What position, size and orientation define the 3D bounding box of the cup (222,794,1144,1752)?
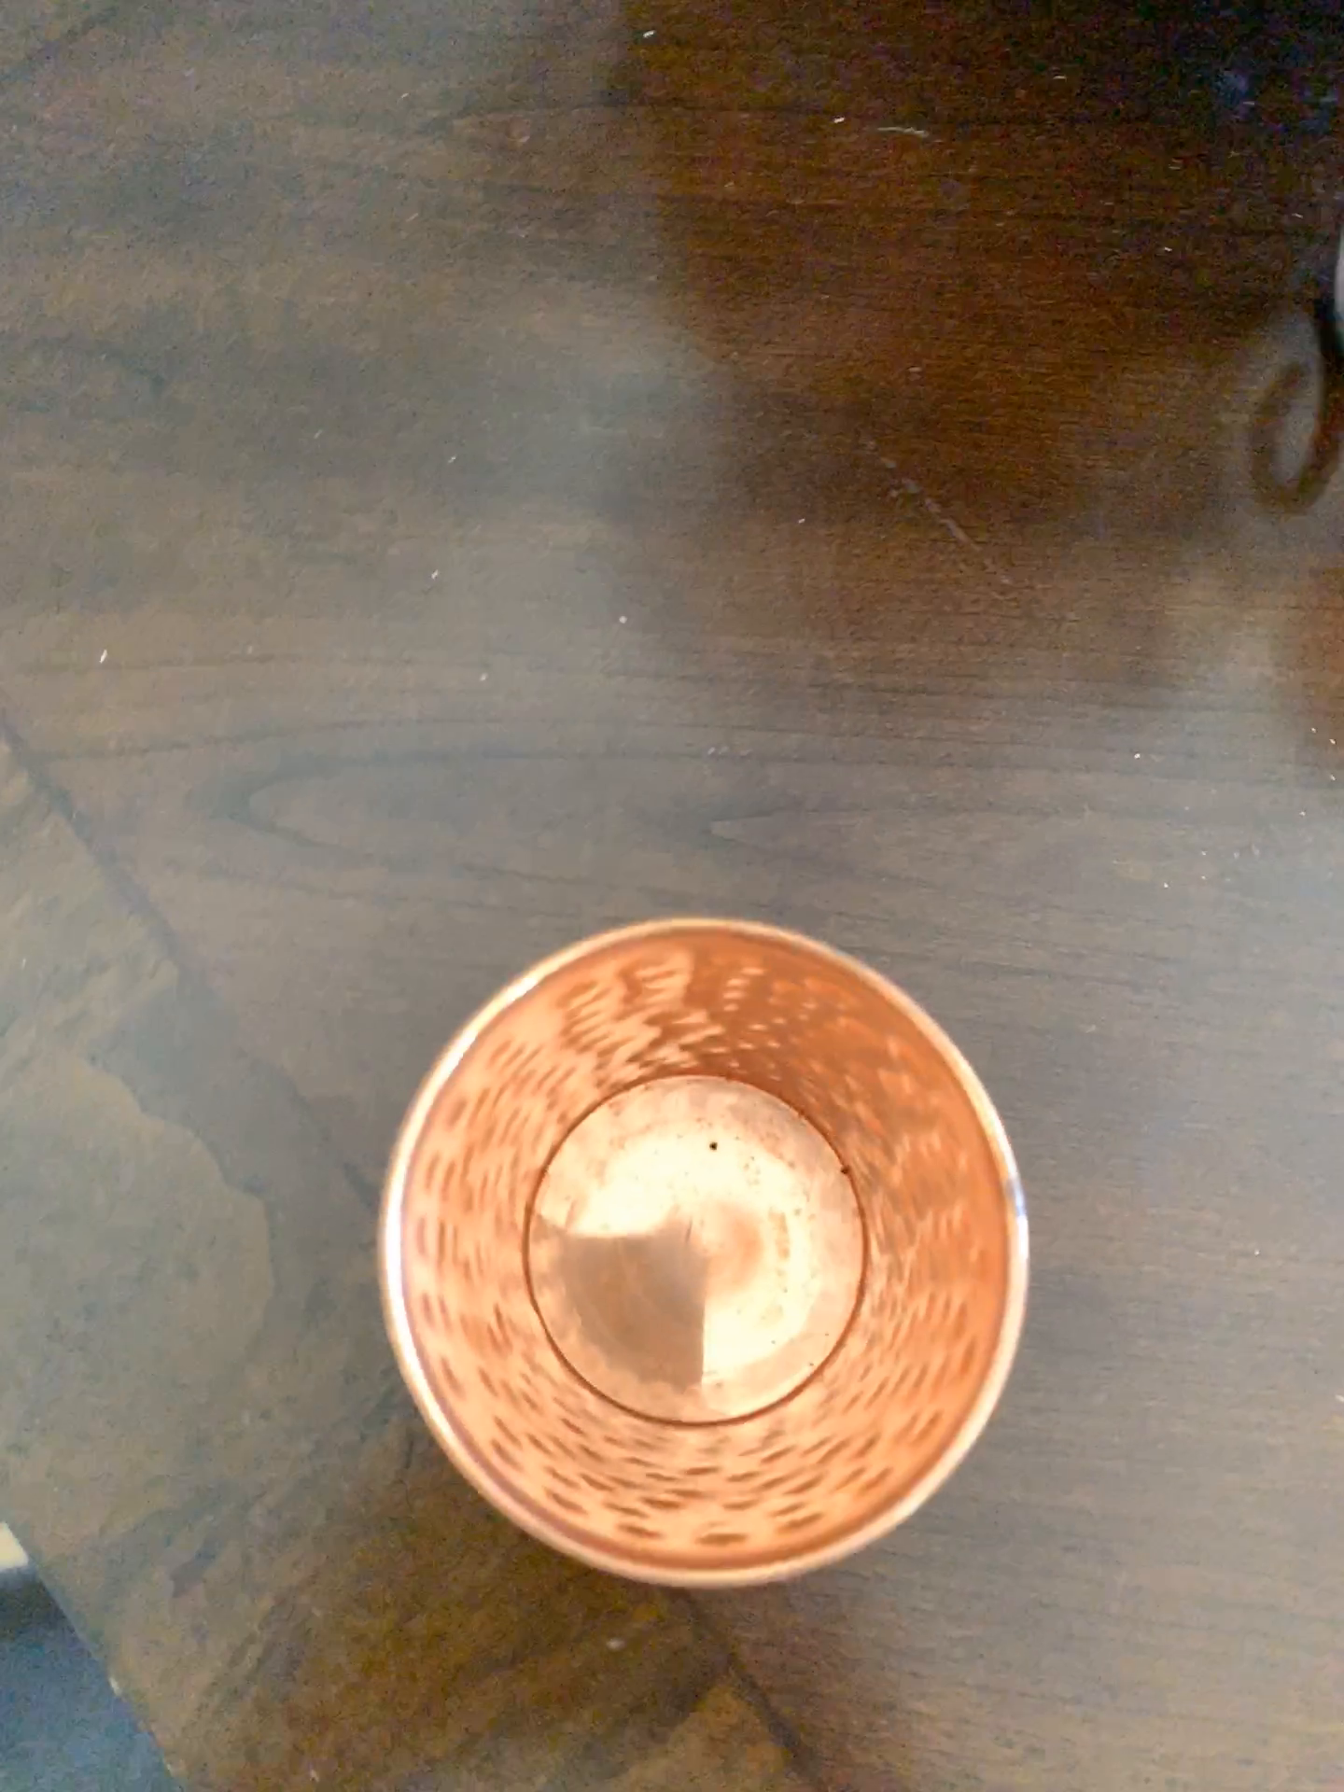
[{"bbox_3d":[0.001,0.046,0.184,0.066,0.083,0.070,0,74,0],"label":"cup"}]
